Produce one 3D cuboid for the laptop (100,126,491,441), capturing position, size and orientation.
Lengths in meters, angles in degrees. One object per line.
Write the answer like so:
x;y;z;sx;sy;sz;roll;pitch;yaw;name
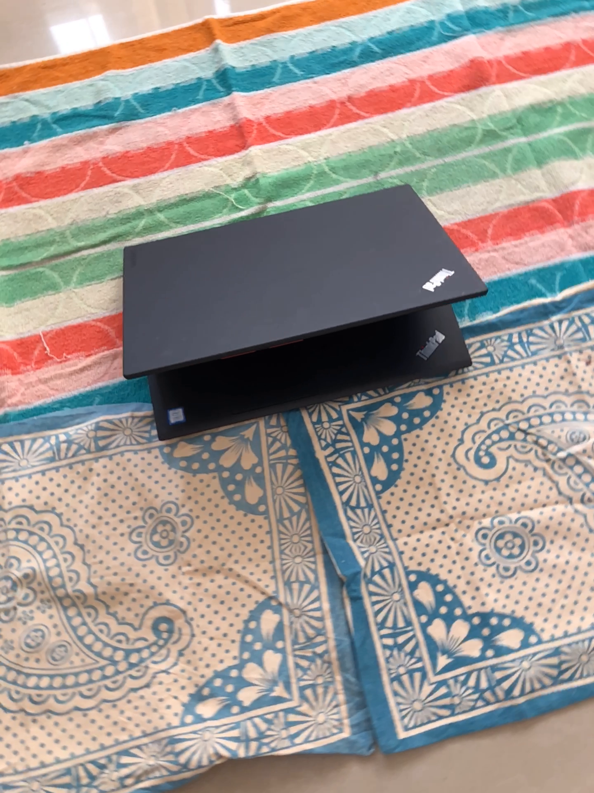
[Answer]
-0.008;-0.123;0.707;0.345;0.121;0.243;-13;69;-5;laptop
